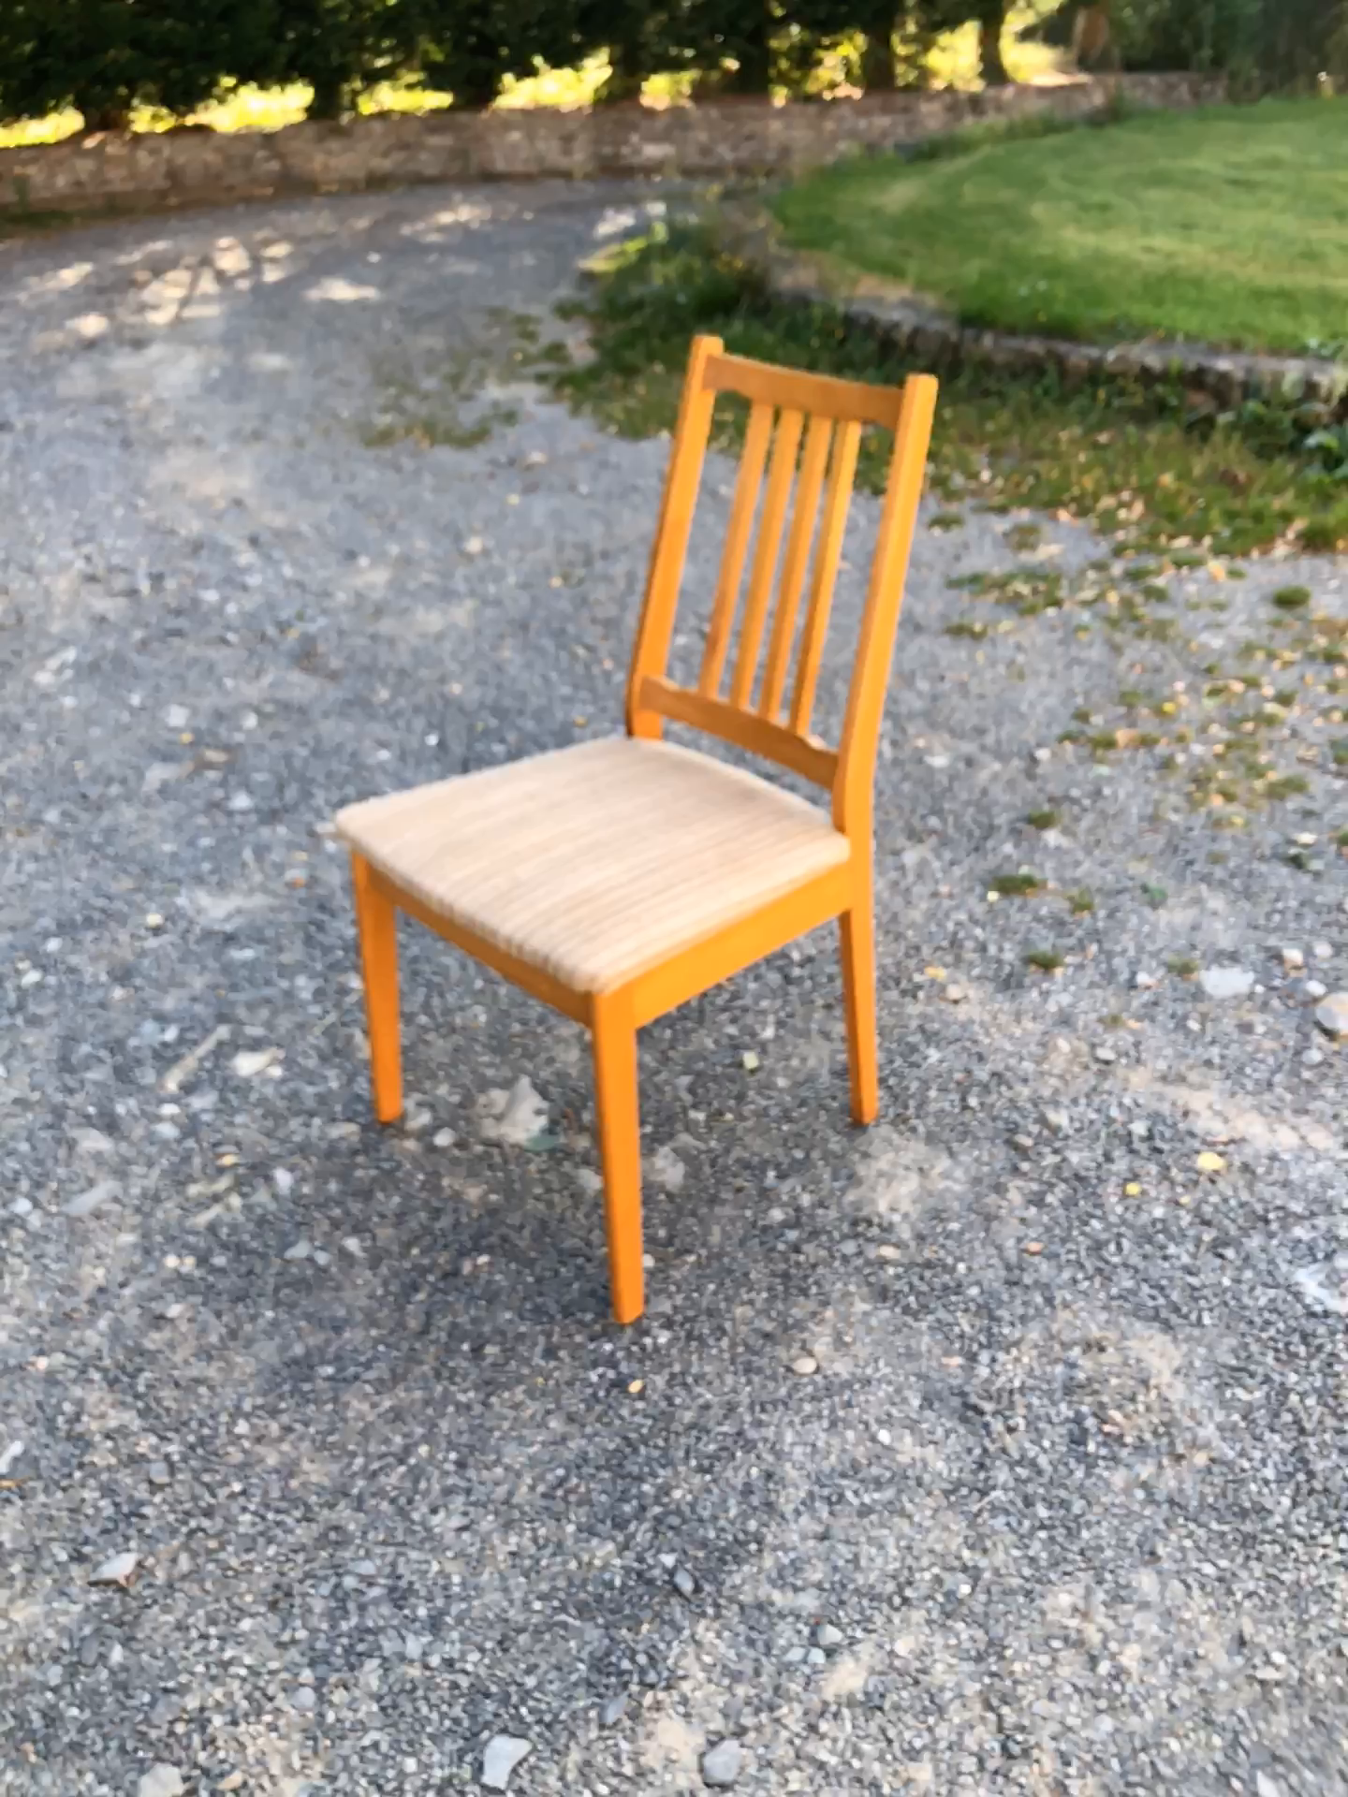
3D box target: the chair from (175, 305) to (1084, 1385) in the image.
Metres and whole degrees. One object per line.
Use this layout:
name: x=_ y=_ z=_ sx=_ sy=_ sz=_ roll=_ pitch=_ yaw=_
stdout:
chair: x=-0.031 y=-0.101 z=1.611 sx=0.593 sy=0.845 sz=0.601 roll=-29 pitch=42 yaw=-34
